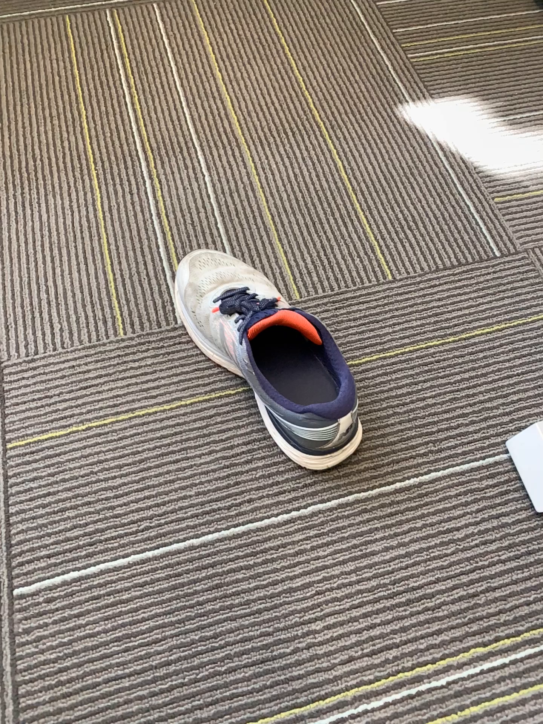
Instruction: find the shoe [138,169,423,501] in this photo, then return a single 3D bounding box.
[{"bbox_3d":[-0.004,-0.034,0.545,0.110,0.110,0.301,-29,66,-15],"label":"shoe"}]
